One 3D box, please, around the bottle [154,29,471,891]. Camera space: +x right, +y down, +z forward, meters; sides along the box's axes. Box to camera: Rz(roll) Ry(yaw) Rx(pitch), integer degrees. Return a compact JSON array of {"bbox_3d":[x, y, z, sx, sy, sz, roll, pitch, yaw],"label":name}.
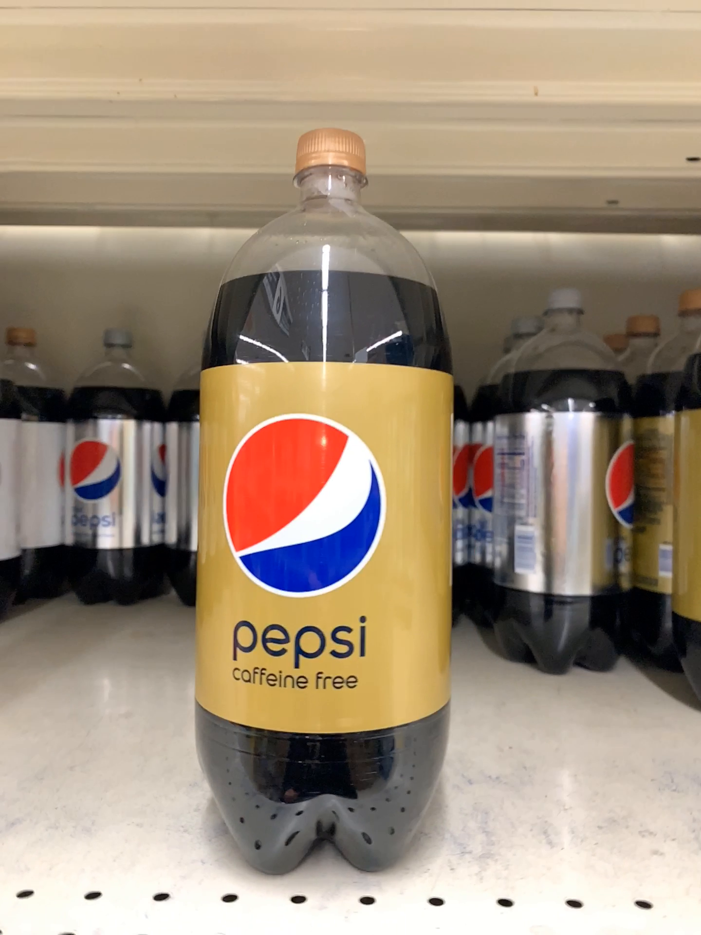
[{"bbox_3d":[-0.009,-0.004,0.314,0.110,0.300,0.110,1,1,0],"label":"bottle"}]
